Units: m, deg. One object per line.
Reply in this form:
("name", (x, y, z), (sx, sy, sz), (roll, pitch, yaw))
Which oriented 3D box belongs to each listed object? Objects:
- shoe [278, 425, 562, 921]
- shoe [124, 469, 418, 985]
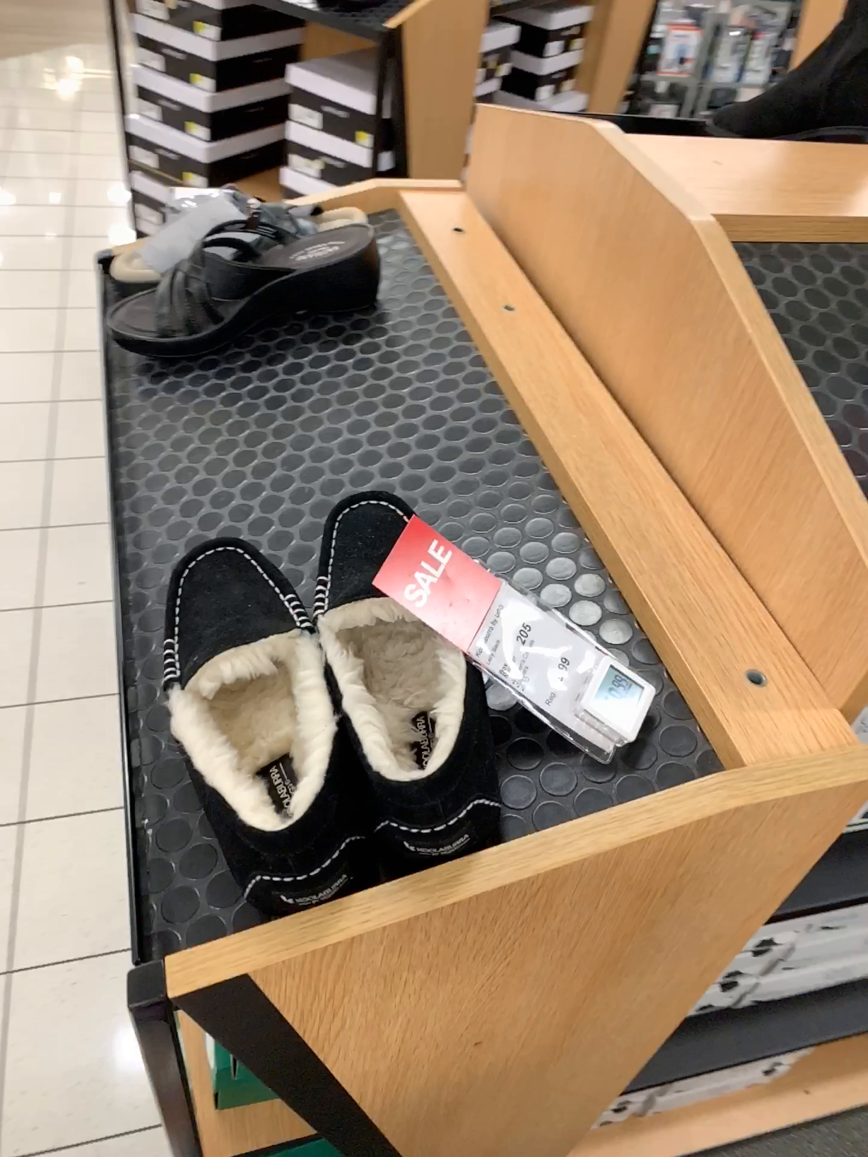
("shoe", (-0.016, 0.037, 0.485), (0.086, 0.090, 0.251), (-18, 47, 0))
("shoe", (-0.095, 0.065, 0.478), (0.086, 0.090, 0.251), (-21, 49, -3))
